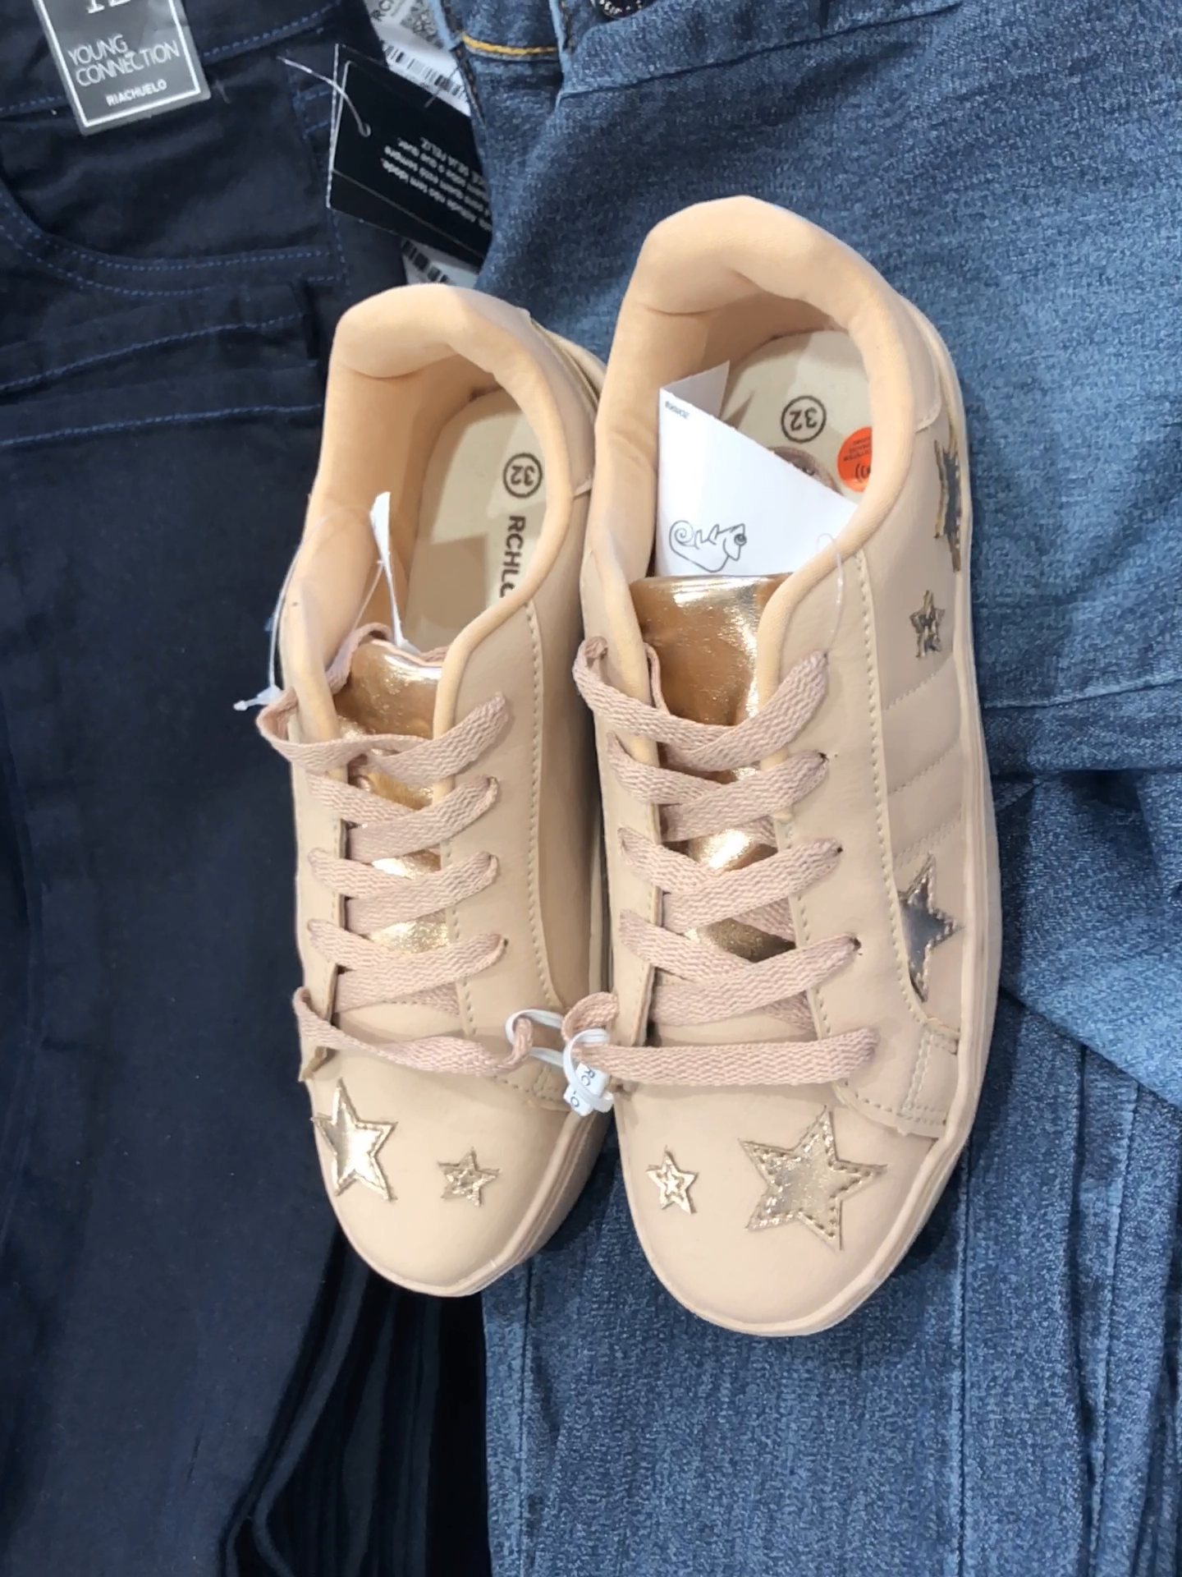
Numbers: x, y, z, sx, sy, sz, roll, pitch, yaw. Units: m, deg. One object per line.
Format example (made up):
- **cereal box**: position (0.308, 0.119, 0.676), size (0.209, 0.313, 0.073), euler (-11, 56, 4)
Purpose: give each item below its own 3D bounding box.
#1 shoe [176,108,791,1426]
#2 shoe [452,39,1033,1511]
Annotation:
- **shoe**: position (-0.022, -0.006, 0.311), size (0.090, 0.090, 0.250), euler (5, 91, 29)
- **shoe**: position (0.040, -0.004, 0.283), size (0.090, 0.090, 0.250), euler (-1, 83, 28)
